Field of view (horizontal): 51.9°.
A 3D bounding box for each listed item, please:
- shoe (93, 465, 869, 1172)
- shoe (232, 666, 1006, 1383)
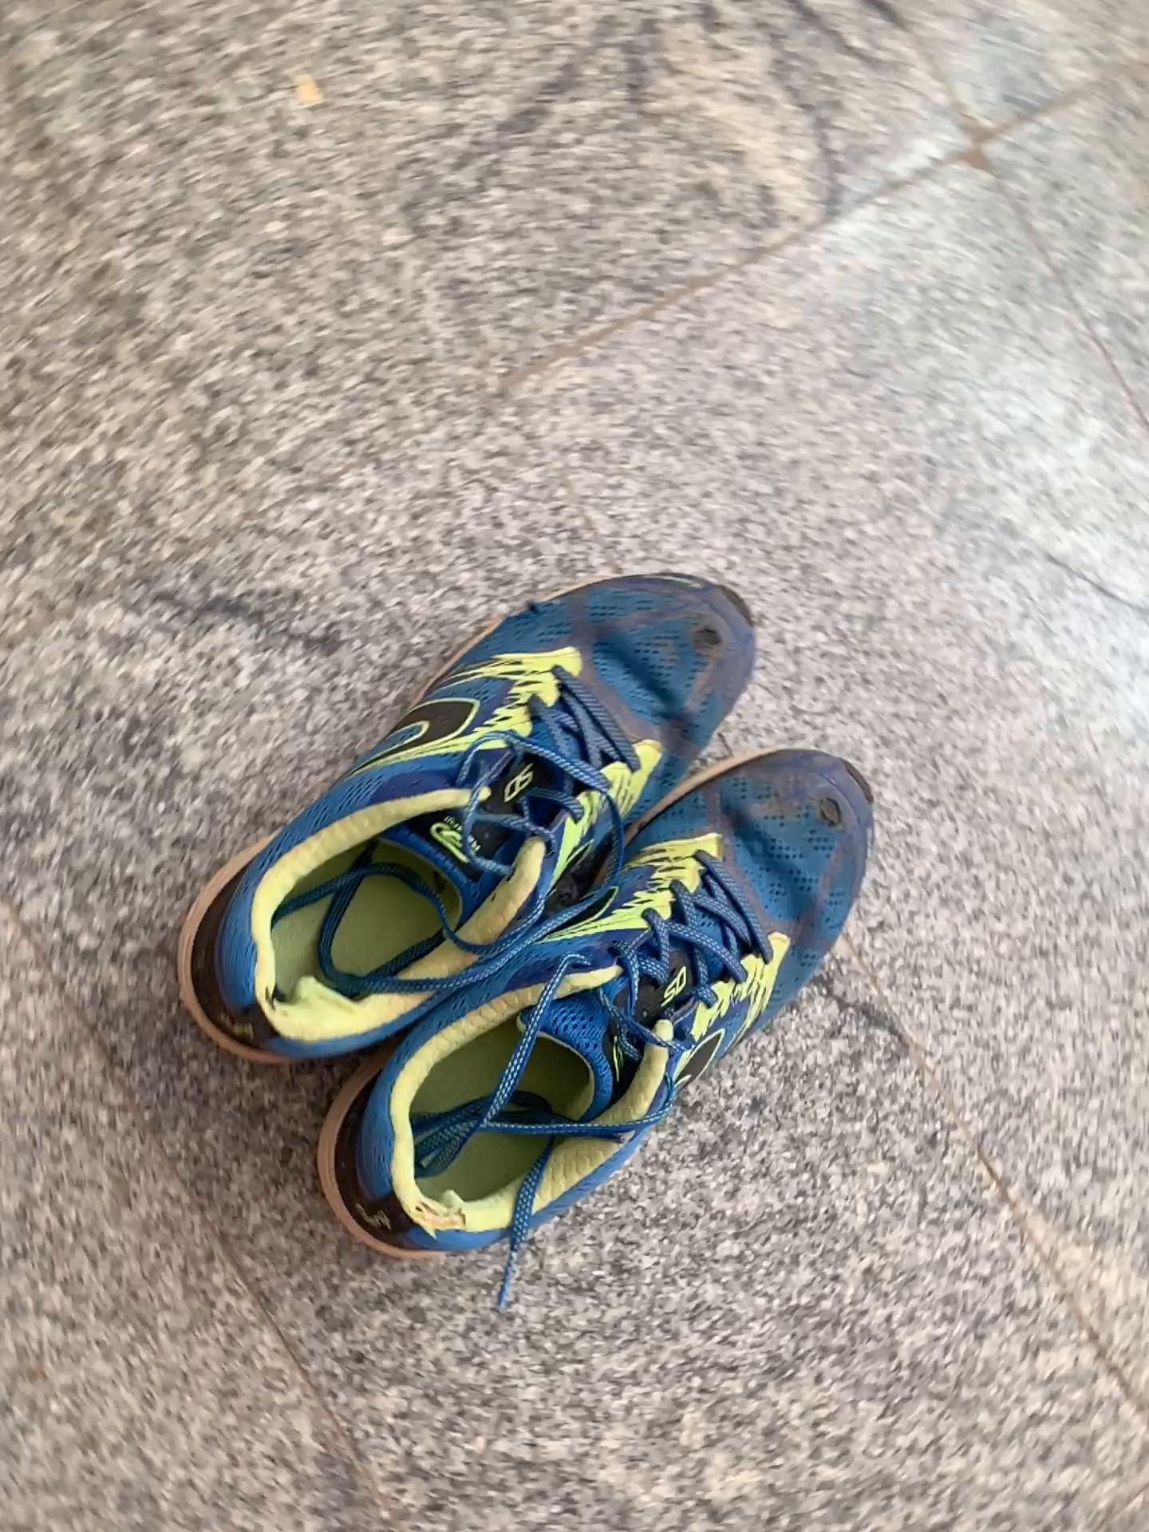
[{"bbox_3d":[-0.028,0.010,0.458,0.290,0.060,0.100,-39,105,-14],"label":"shoe"},{"bbox_3d":[0.022,0.089,0.469,0.290,0.060,0.110,-35,95,-14],"label":"shoe"}]
